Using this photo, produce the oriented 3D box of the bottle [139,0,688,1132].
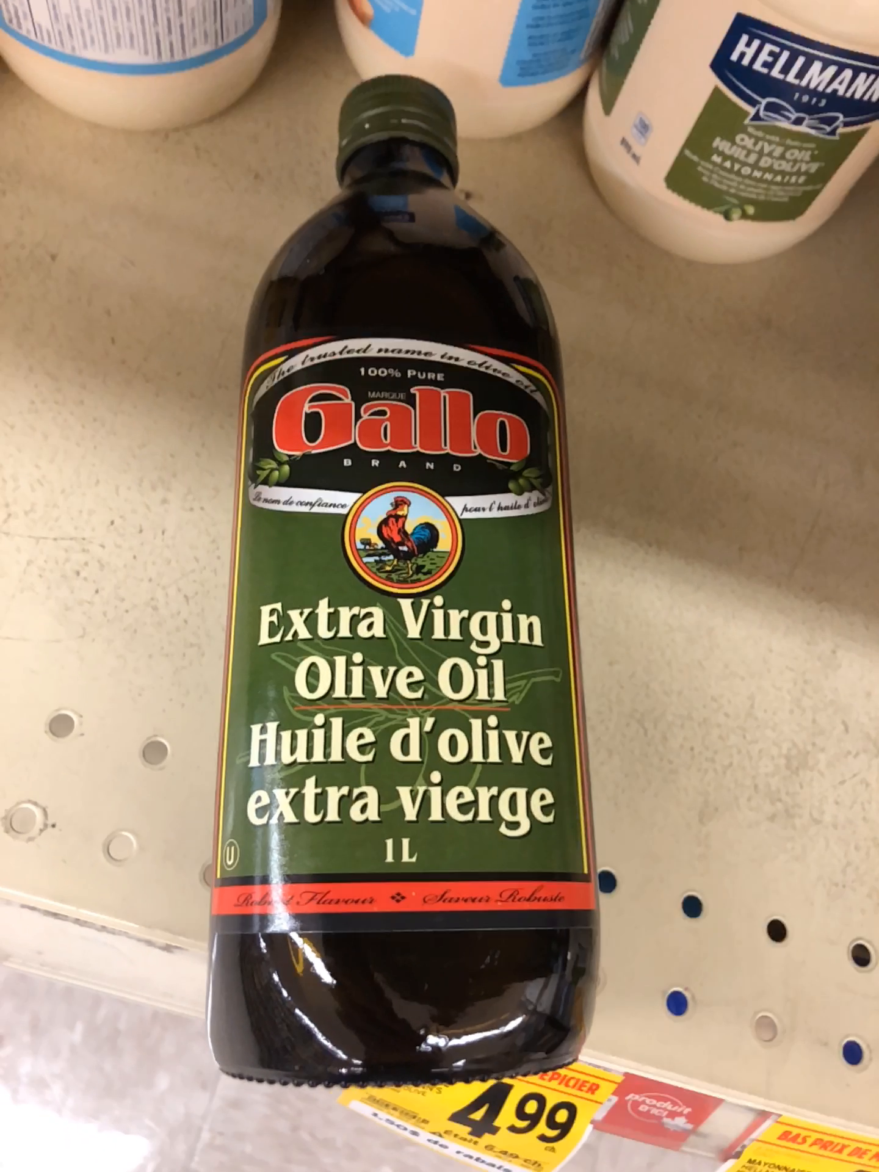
[{"bbox_3d":[-0.012,-0.026,0.247,0.090,0.090,0.271,2,70,-9],"label":"bottle"}]
